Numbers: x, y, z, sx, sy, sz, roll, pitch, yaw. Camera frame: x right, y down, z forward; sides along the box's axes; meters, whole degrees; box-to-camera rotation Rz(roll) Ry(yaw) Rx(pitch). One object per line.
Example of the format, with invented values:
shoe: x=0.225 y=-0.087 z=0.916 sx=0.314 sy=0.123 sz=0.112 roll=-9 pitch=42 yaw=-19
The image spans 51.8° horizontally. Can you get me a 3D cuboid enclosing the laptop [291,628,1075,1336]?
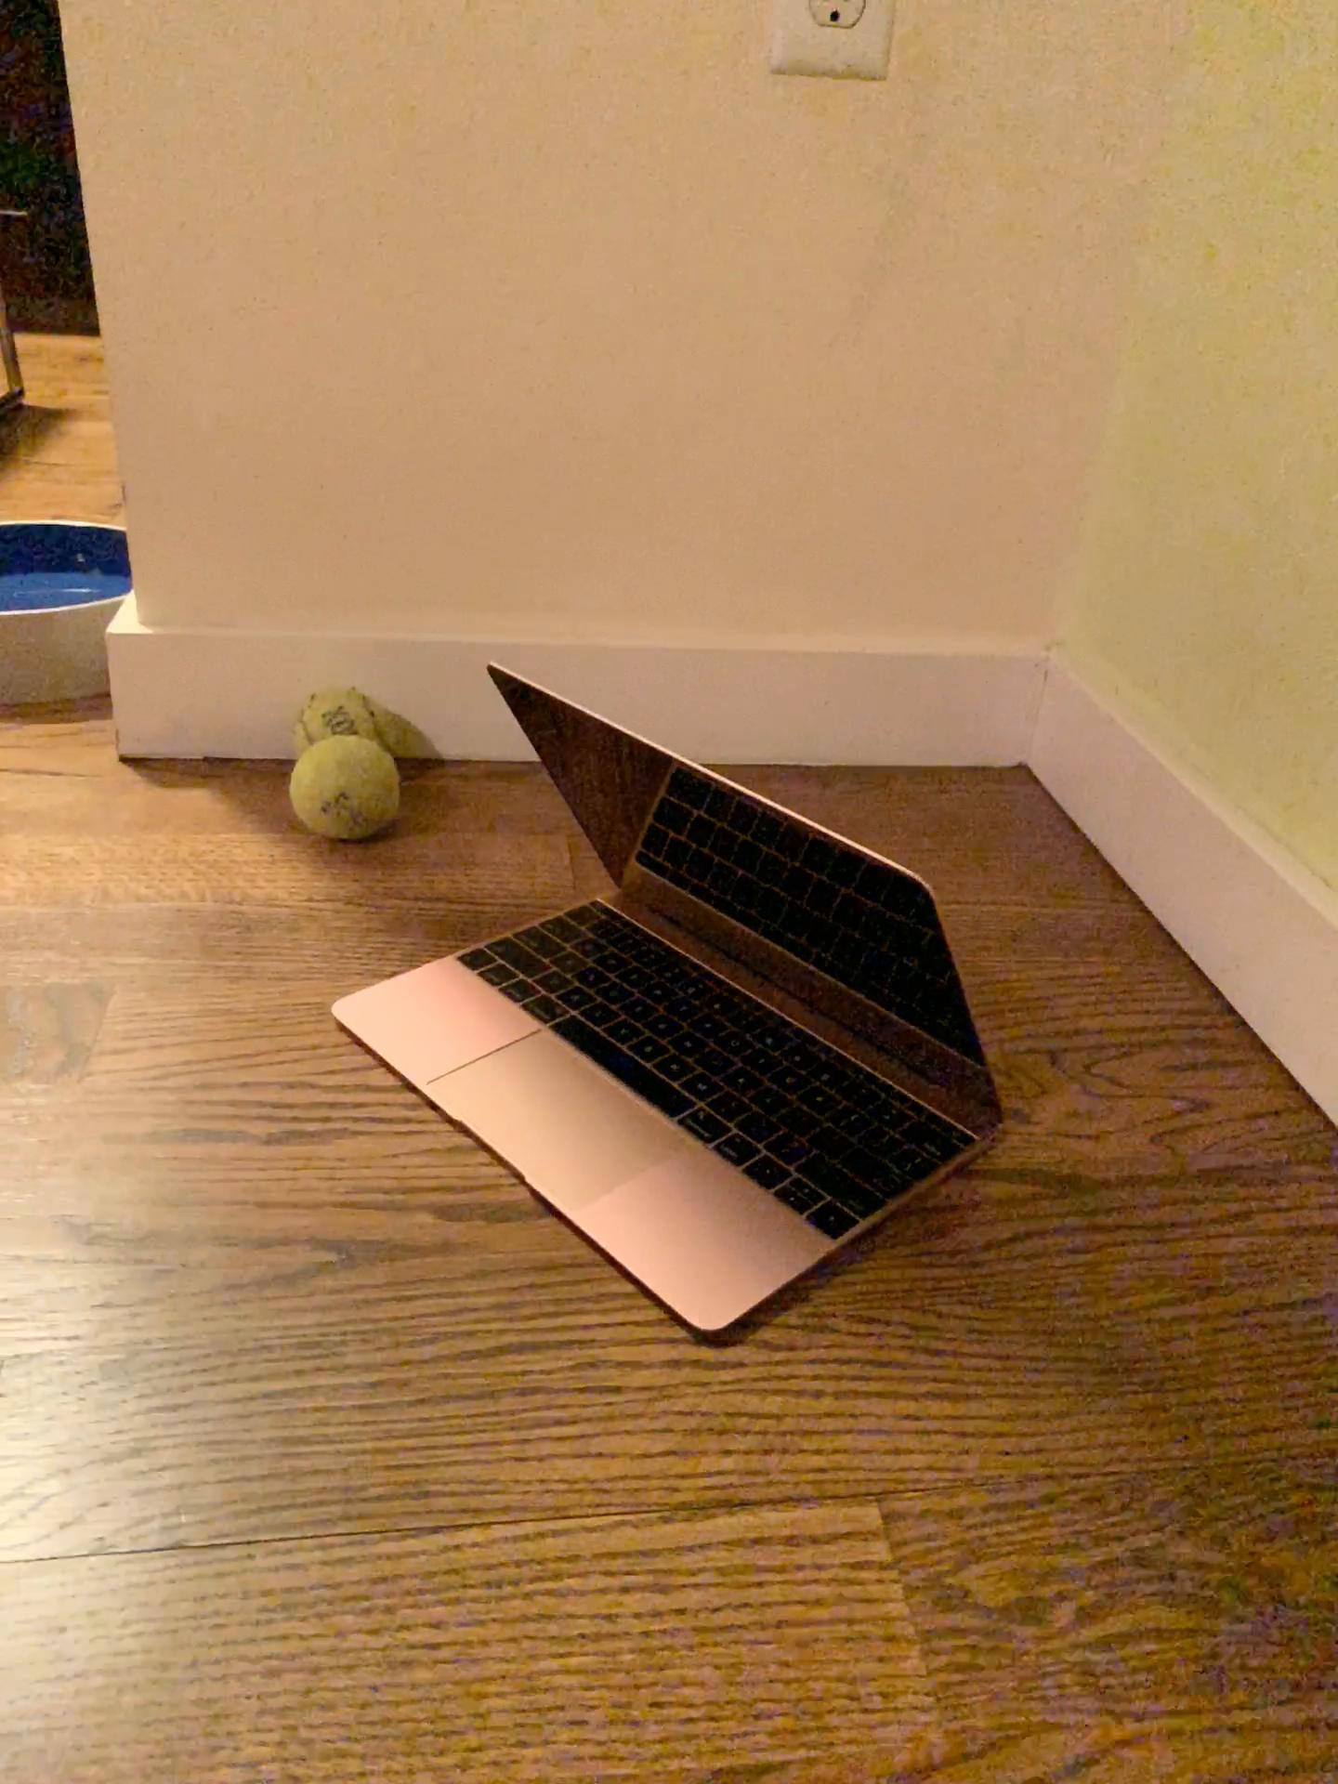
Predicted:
laptop: x=-0.006 y=0.014 z=0.652 sx=0.207 sy=0.168 sz=0.289 roll=-22 pitch=38 yaw=-38
